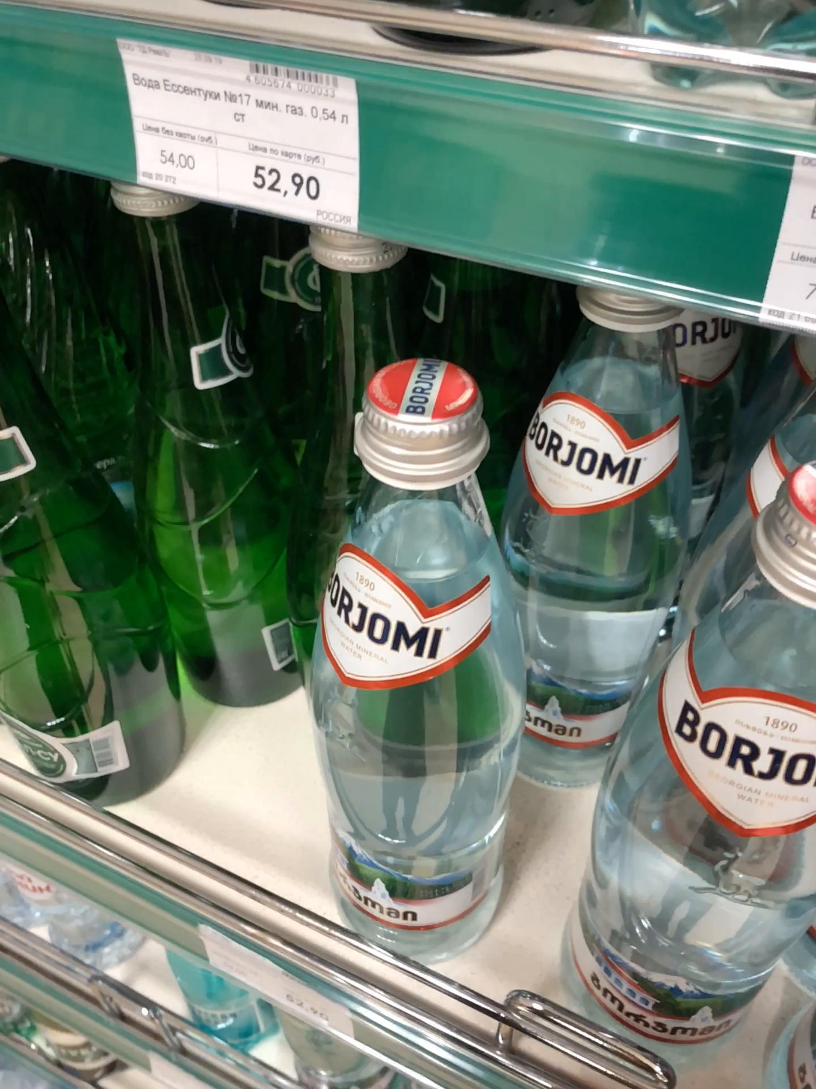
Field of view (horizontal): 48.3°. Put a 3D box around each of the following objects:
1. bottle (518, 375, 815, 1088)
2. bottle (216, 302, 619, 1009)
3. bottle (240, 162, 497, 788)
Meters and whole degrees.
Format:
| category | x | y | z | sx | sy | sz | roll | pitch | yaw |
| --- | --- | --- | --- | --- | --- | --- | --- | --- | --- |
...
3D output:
| category | x | y | z | sx | sy | sz | roll | pitch | yaw |
| --- | --- | --- | --- | --- | --- | --- | --- | --- | --- |
| bottle | 0.088 | 0.079 | 0.258 | 0.069 | 0.236 | 0.065 | 0 | 43 | 0 |
| bottle | 0.003 | 0.053 | 0.287 | 0.068 | 0.236 | 0.063 | 0 | 43 | 0 |
| bottle | -0.015 | -0.008 | 0.342 | 0.065 | 0.237 | 0.069 | 0 | 43 | 0 |
